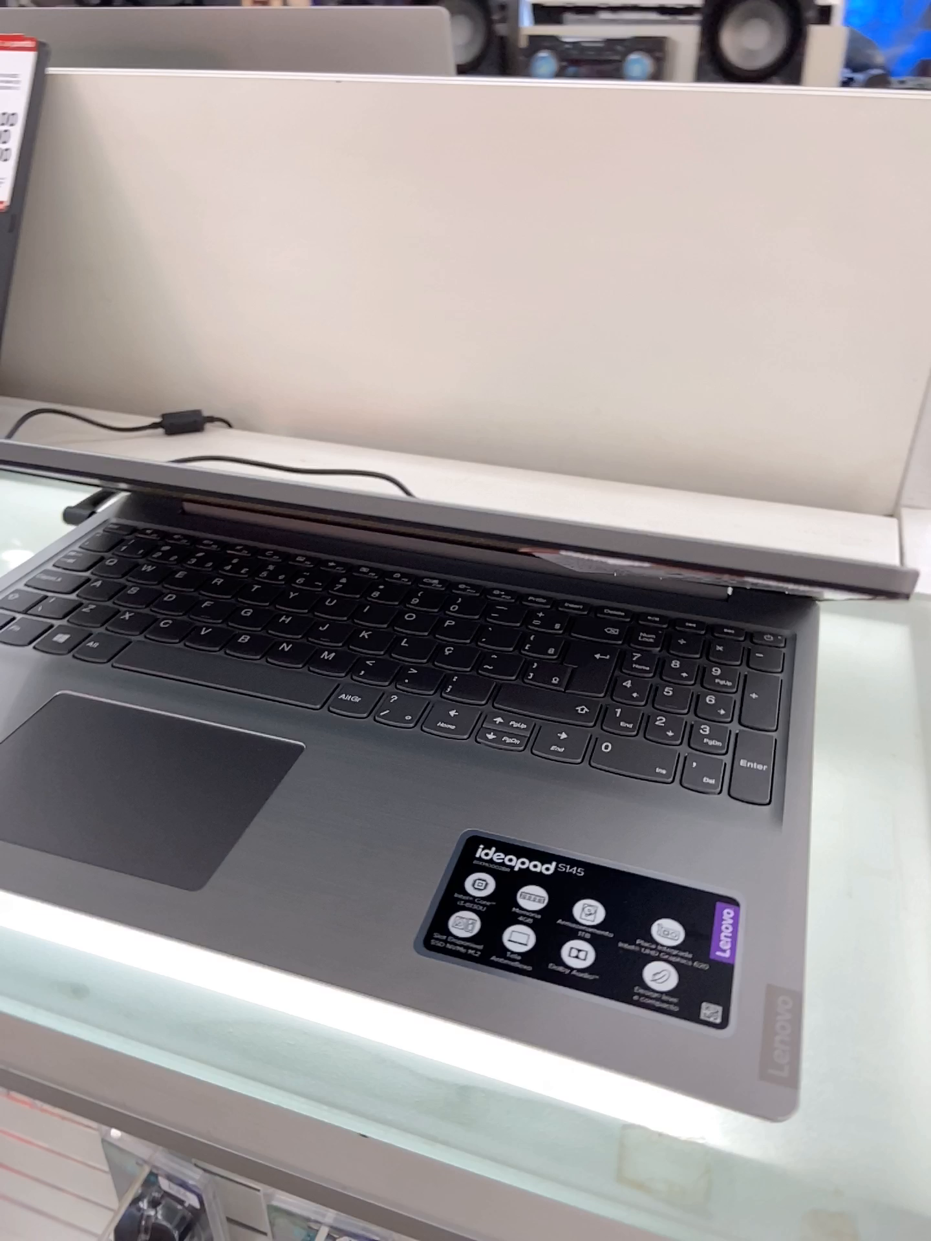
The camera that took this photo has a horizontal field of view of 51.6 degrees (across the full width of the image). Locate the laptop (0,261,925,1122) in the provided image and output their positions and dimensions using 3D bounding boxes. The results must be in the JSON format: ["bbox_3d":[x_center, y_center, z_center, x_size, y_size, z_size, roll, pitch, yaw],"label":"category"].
[{"bbox_3d":[-0.054,-0.027,0.335,0.354,0.122,0.240,9,34,16],"label":"laptop"}]
